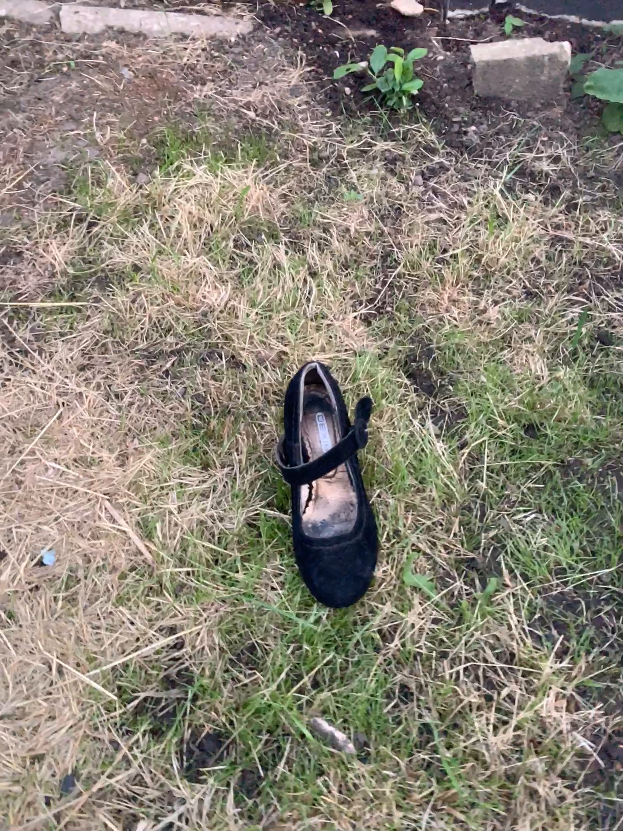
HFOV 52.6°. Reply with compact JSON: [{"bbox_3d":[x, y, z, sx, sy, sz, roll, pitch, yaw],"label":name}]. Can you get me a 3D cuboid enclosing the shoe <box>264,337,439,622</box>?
[{"bbox_3d":[0.025,0.055,0.631,0.110,0.109,0.252,-7,53,-9],"label":"shoe"}]
